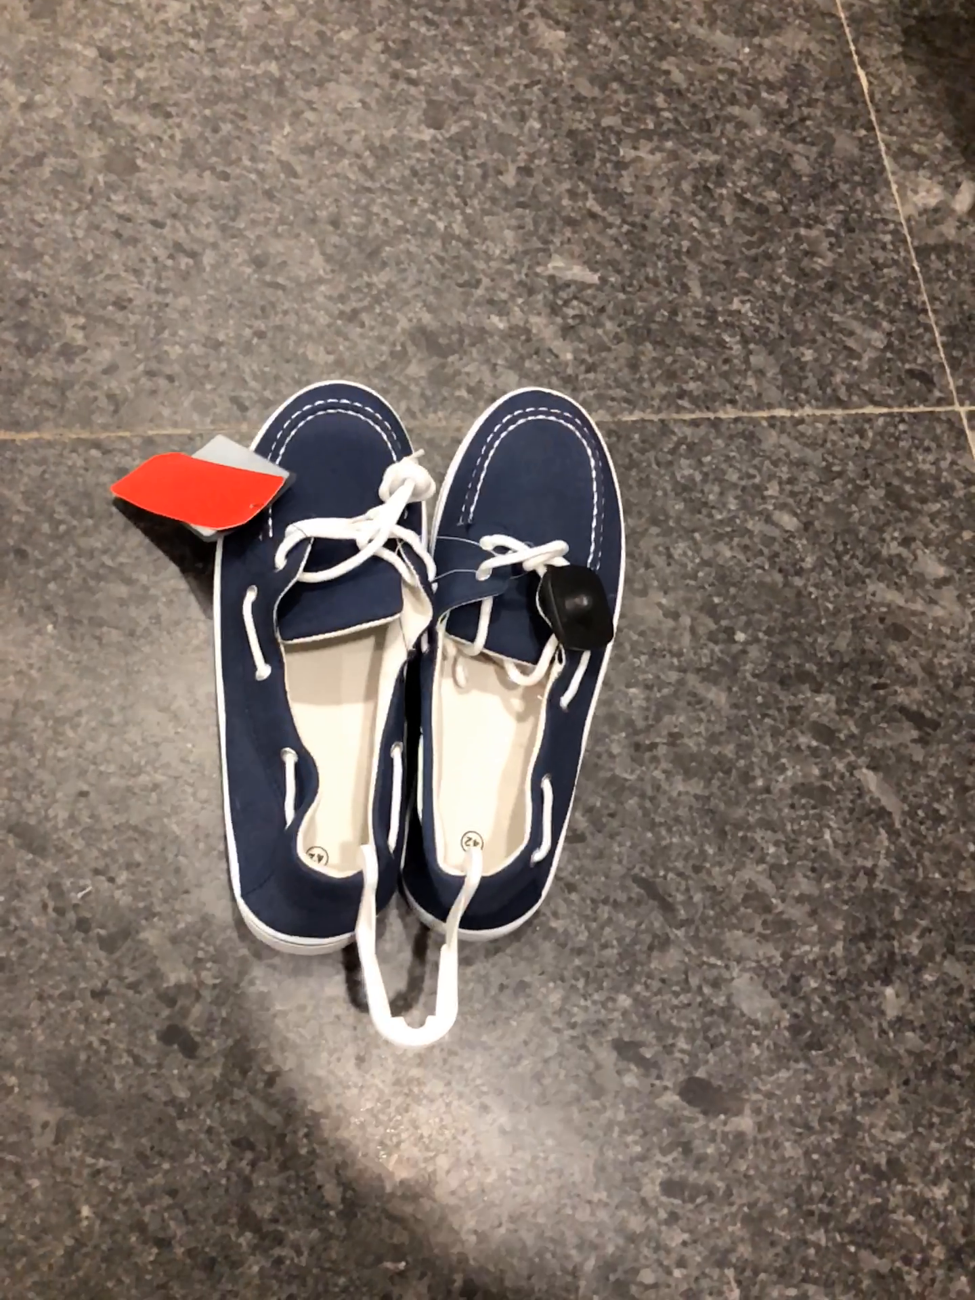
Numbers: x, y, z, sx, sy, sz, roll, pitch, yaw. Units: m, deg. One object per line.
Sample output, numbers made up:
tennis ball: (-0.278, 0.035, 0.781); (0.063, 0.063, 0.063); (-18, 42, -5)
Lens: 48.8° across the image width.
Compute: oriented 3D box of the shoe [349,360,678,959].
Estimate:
shoe: (0.012, 0.009, 0.511); (0.096, 0.115, 0.247); (13, 69, -7)

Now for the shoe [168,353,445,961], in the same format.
shoe: (-0.078, 0.009, 0.490); (0.096, 0.115, 0.249); (4, 71, -10)
